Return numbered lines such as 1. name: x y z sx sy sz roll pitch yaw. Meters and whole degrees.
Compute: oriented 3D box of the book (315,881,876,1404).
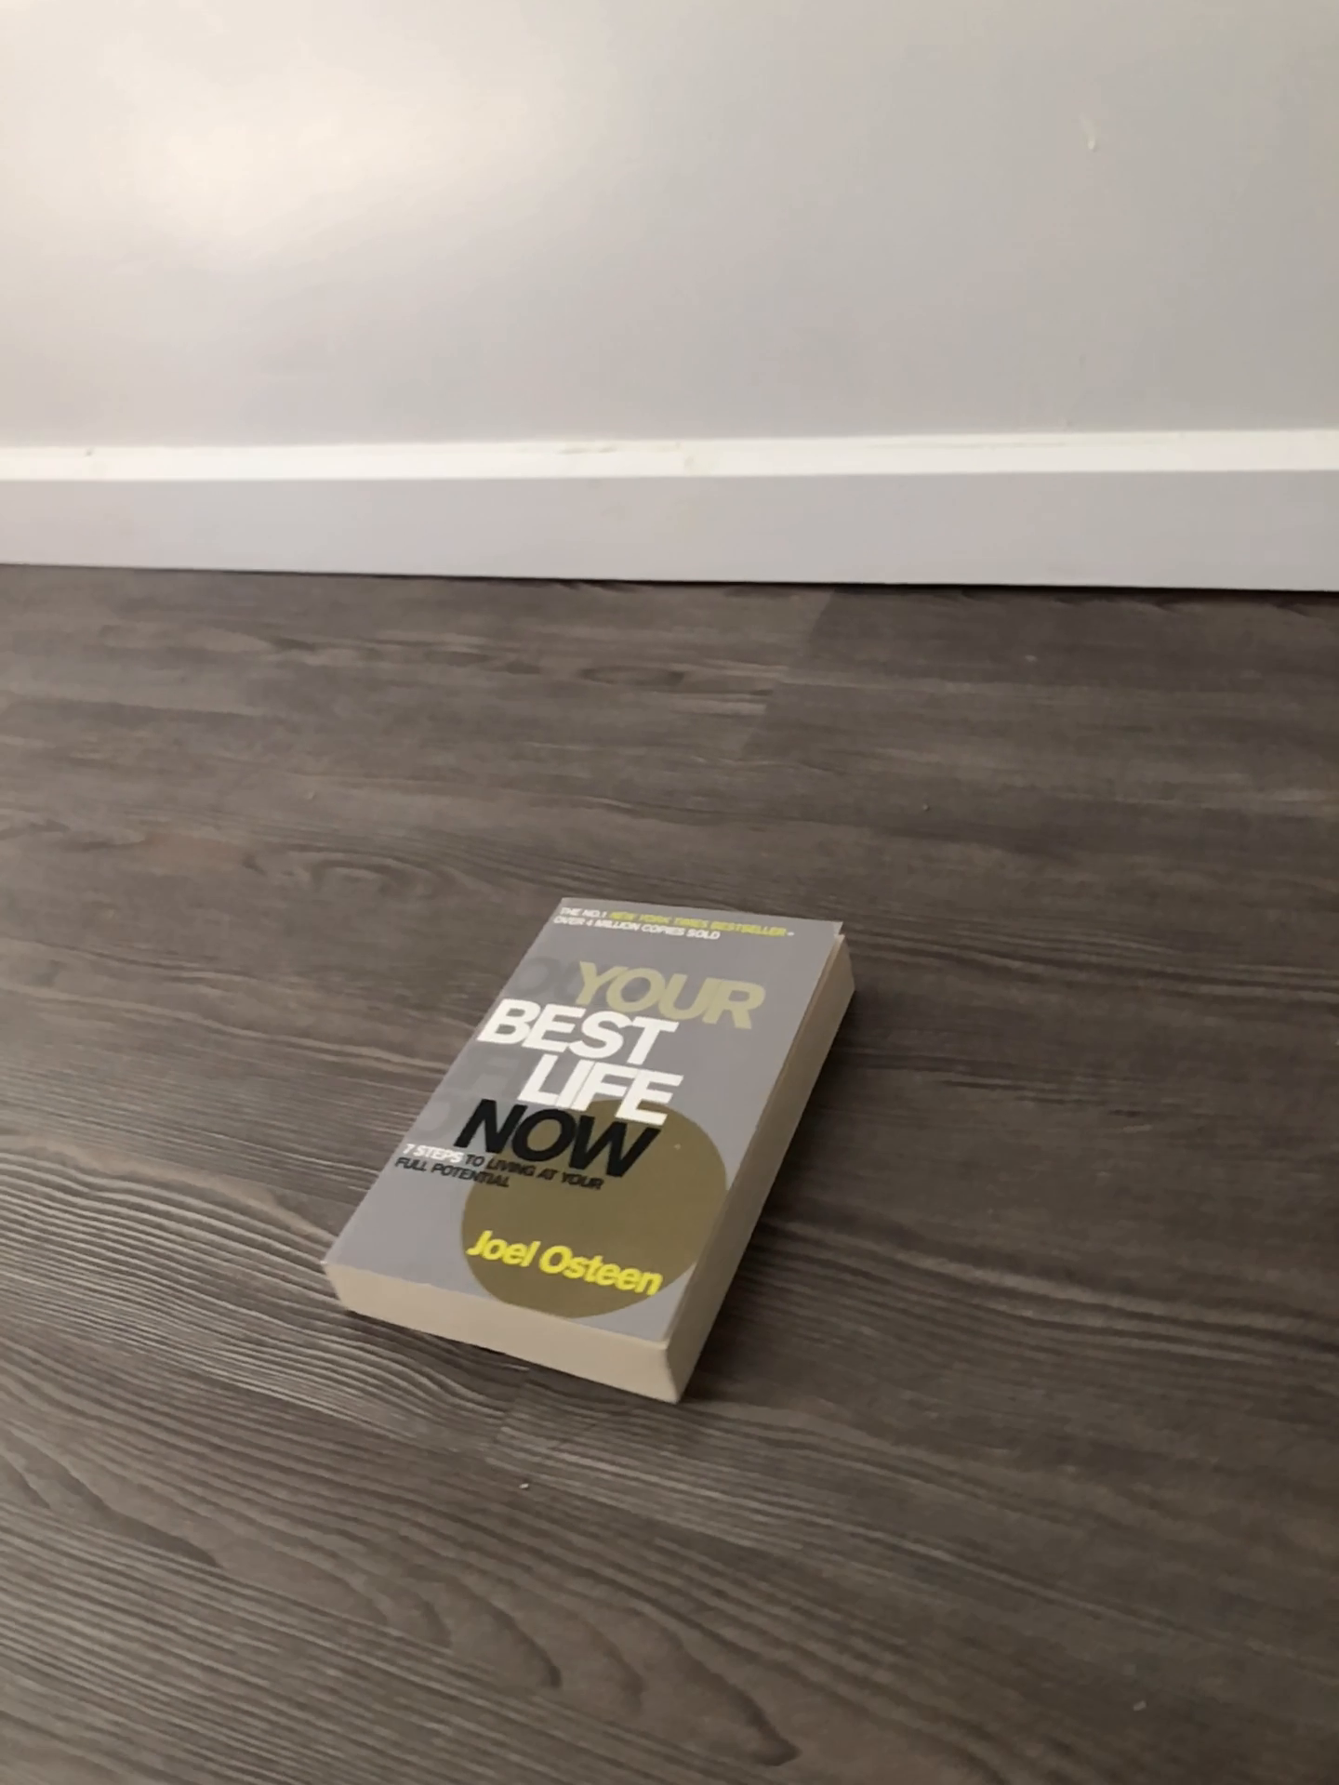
1. book: -0.018 0.078 0.552 0.136 0.030 0.202 7 42 23
